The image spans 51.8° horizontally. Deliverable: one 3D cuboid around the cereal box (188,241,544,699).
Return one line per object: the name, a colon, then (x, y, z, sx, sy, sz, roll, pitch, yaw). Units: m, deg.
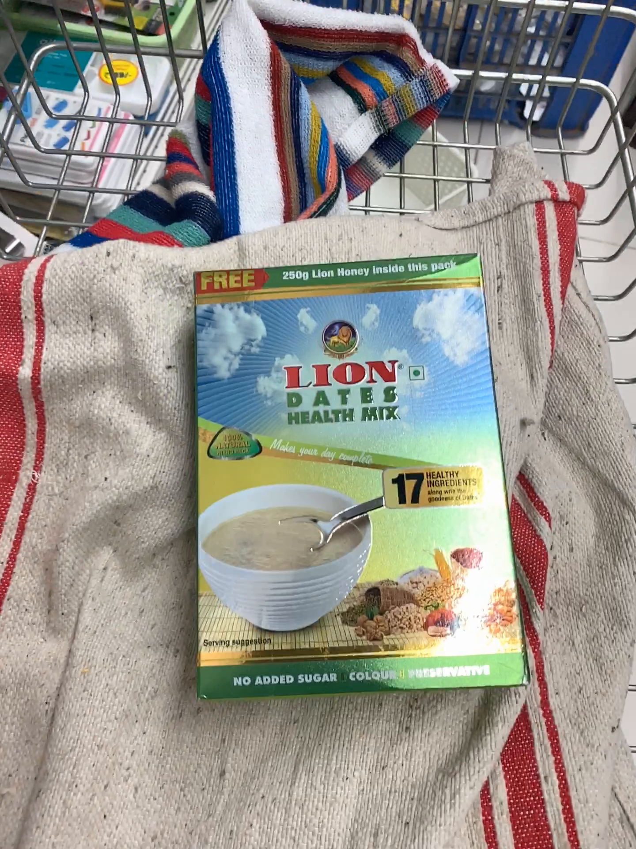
cereal box: (0.016, 0.023, 0.324, 0.140, 0.090, 0.190, -3, 77, 2)
